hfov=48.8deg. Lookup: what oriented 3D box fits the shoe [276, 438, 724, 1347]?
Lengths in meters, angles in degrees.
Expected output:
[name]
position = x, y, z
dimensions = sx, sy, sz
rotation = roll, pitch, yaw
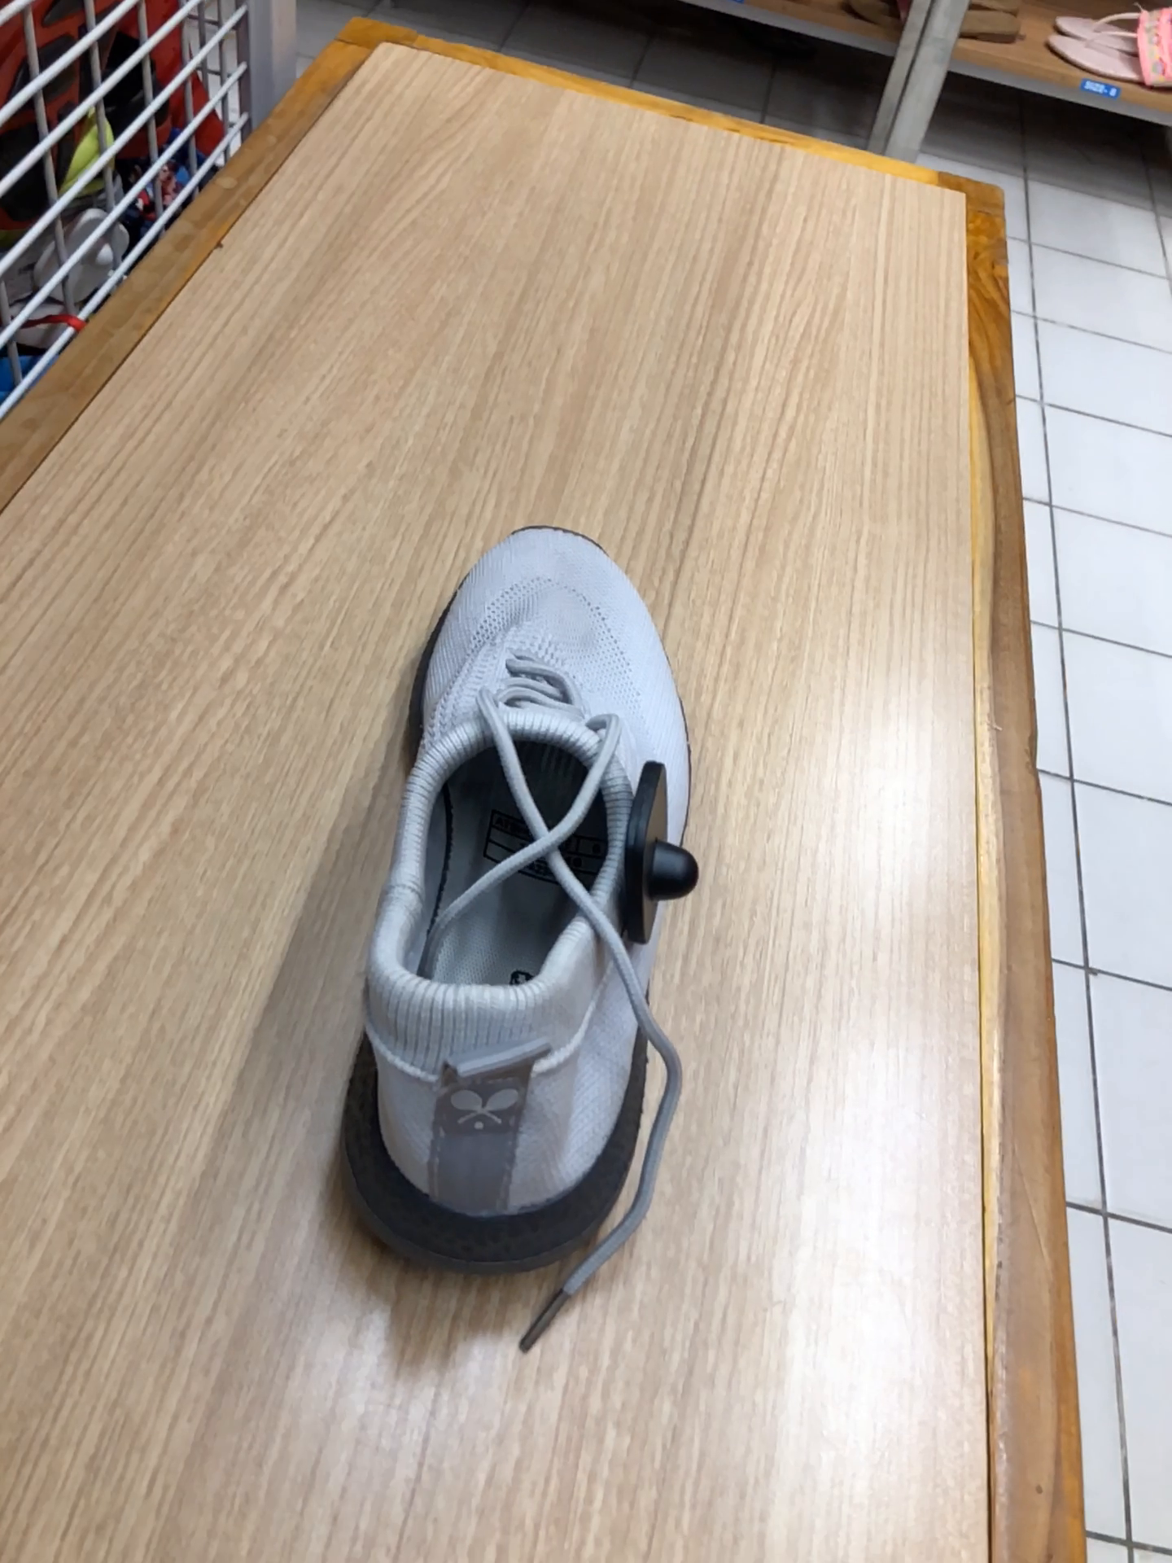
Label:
[shoe]
position = -0.017, 0.019, 0.415
dimensions = 0.100, 0.099, 0.272
rotation = 9, 49, -4
